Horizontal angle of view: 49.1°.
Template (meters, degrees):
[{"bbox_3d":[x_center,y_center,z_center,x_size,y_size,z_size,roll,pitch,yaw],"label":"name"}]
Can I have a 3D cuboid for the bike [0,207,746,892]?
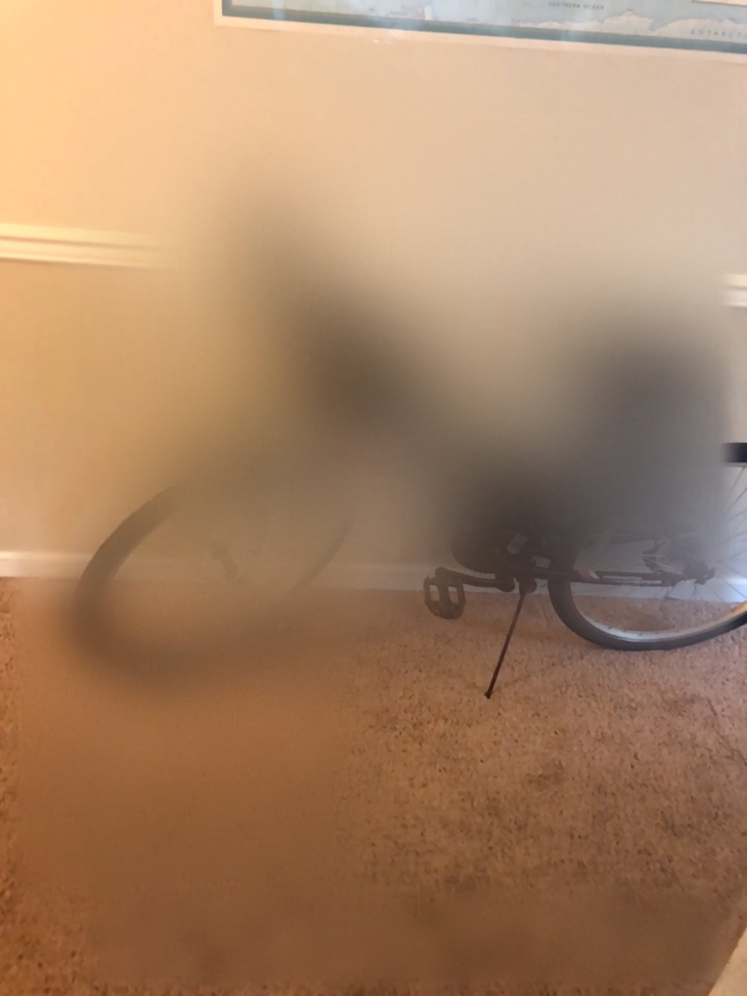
[{"bbox_3d":[0.290,0.054,1.814,1.865,1.177,0.682,-3,31,-12],"label":"bike"}]
